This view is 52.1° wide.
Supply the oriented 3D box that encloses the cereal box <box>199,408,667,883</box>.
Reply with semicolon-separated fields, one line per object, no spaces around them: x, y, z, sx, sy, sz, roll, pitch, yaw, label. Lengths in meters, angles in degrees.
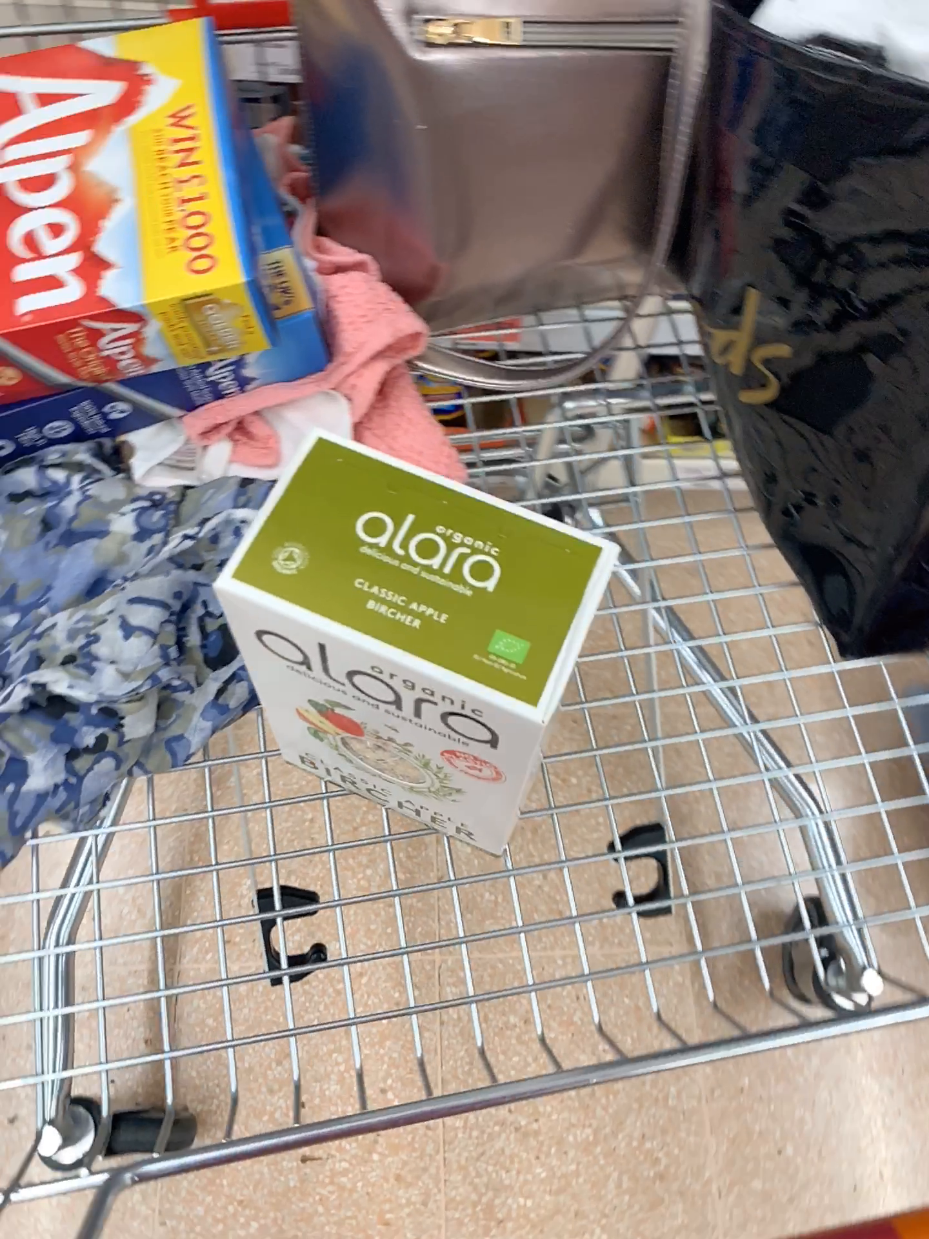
-0.013;0.024;0.370;0.120;0.179;0.080;23;66;7;cereal box
